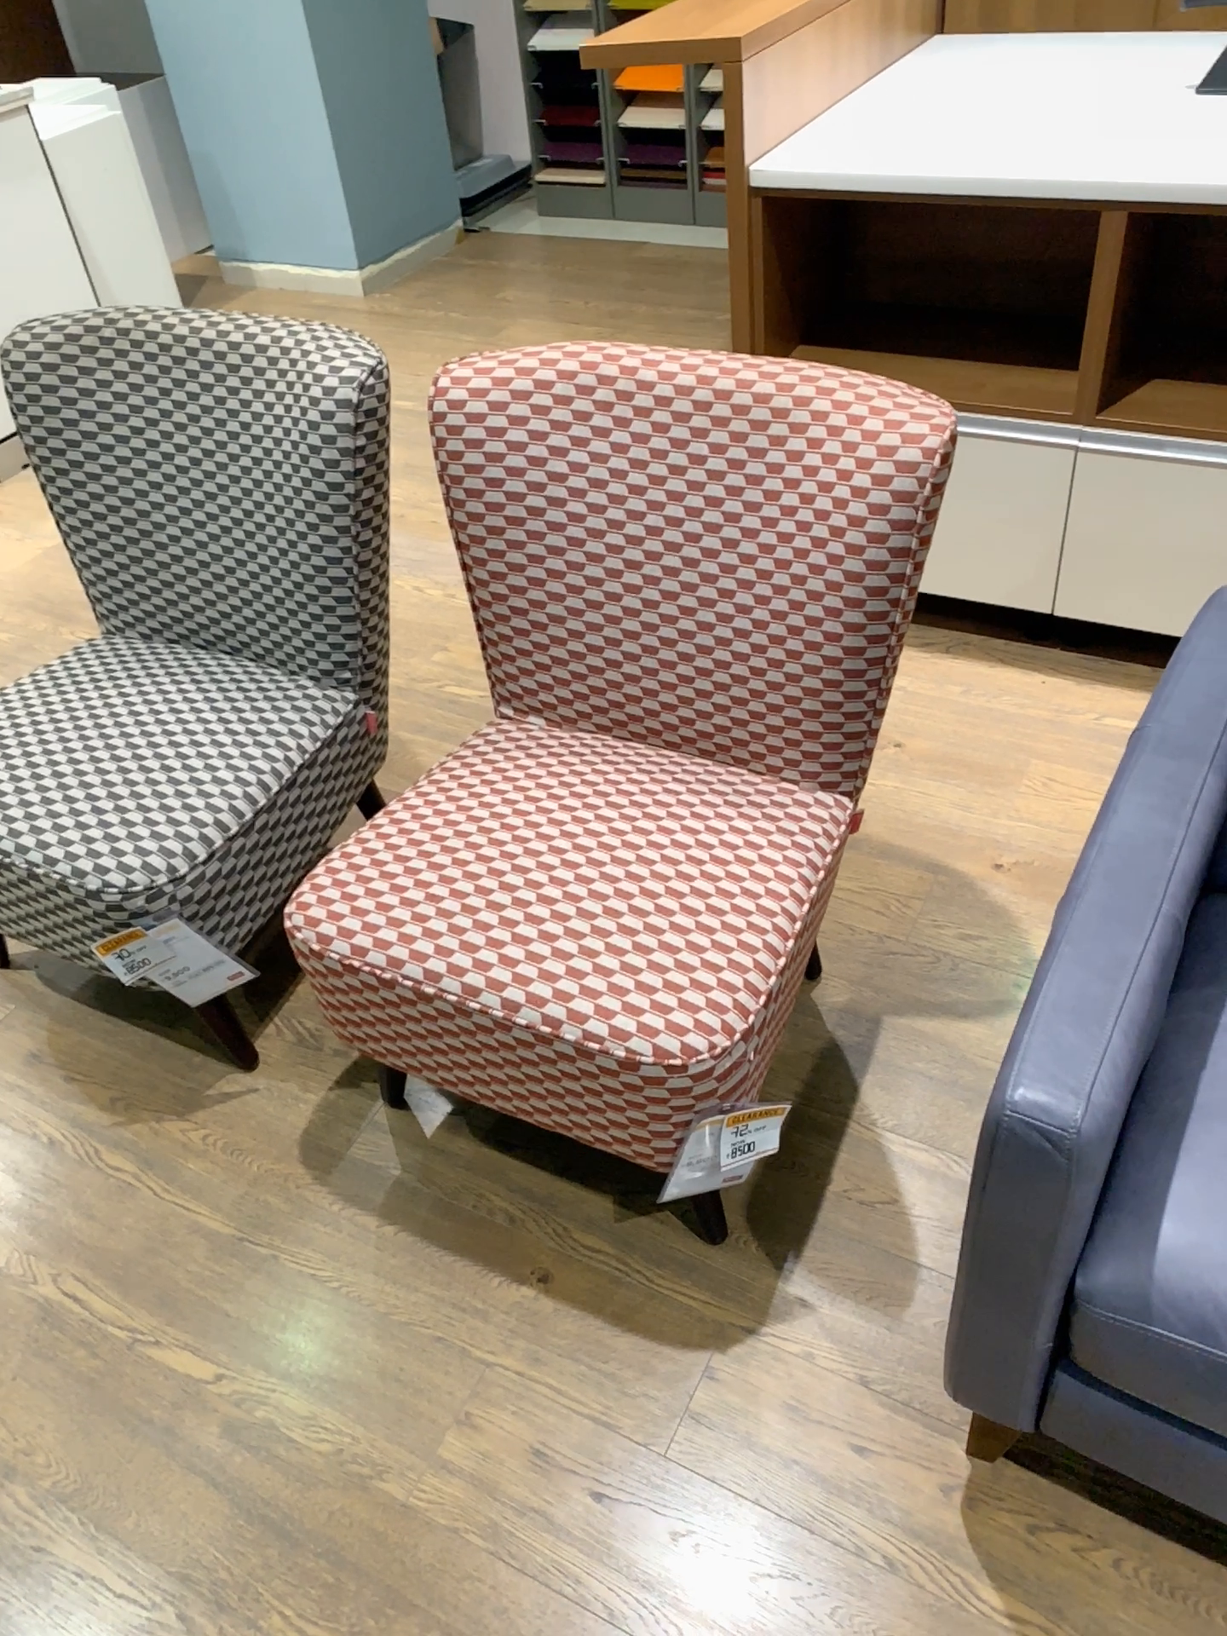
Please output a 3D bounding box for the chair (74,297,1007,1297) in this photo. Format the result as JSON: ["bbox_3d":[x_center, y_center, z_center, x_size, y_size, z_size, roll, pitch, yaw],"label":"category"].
[{"bbox_3d":[-0.010,-0.049,1.490,0.701,0.866,0.611,15,45,24],"label":"chair"}]
